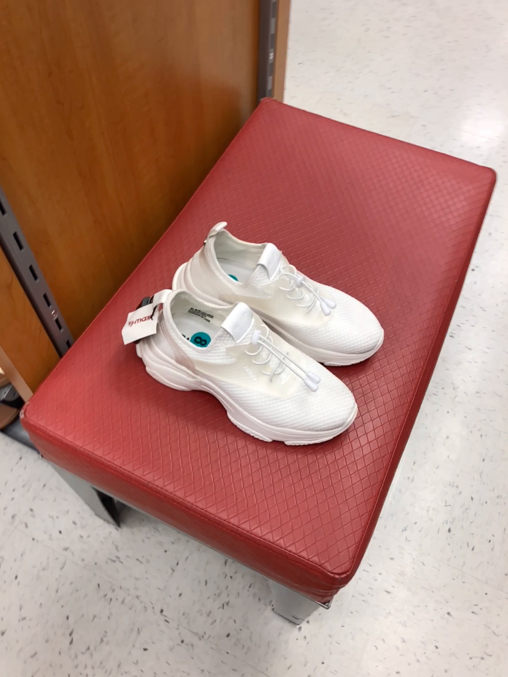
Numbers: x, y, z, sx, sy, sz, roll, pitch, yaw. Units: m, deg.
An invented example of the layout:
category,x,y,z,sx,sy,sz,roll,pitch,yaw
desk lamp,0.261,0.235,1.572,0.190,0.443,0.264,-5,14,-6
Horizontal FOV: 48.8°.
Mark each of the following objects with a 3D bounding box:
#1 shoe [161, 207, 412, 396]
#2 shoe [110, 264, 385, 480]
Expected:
category,x,y,z,sx,sy,sz,roll,pitch,yaw
shoe,0.037,-0.049,0.710,0.278,0.110,0.109,21,59,12
shoe,-0.009,0.036,0.654,0.278,0.110,0.112,23,60,13
